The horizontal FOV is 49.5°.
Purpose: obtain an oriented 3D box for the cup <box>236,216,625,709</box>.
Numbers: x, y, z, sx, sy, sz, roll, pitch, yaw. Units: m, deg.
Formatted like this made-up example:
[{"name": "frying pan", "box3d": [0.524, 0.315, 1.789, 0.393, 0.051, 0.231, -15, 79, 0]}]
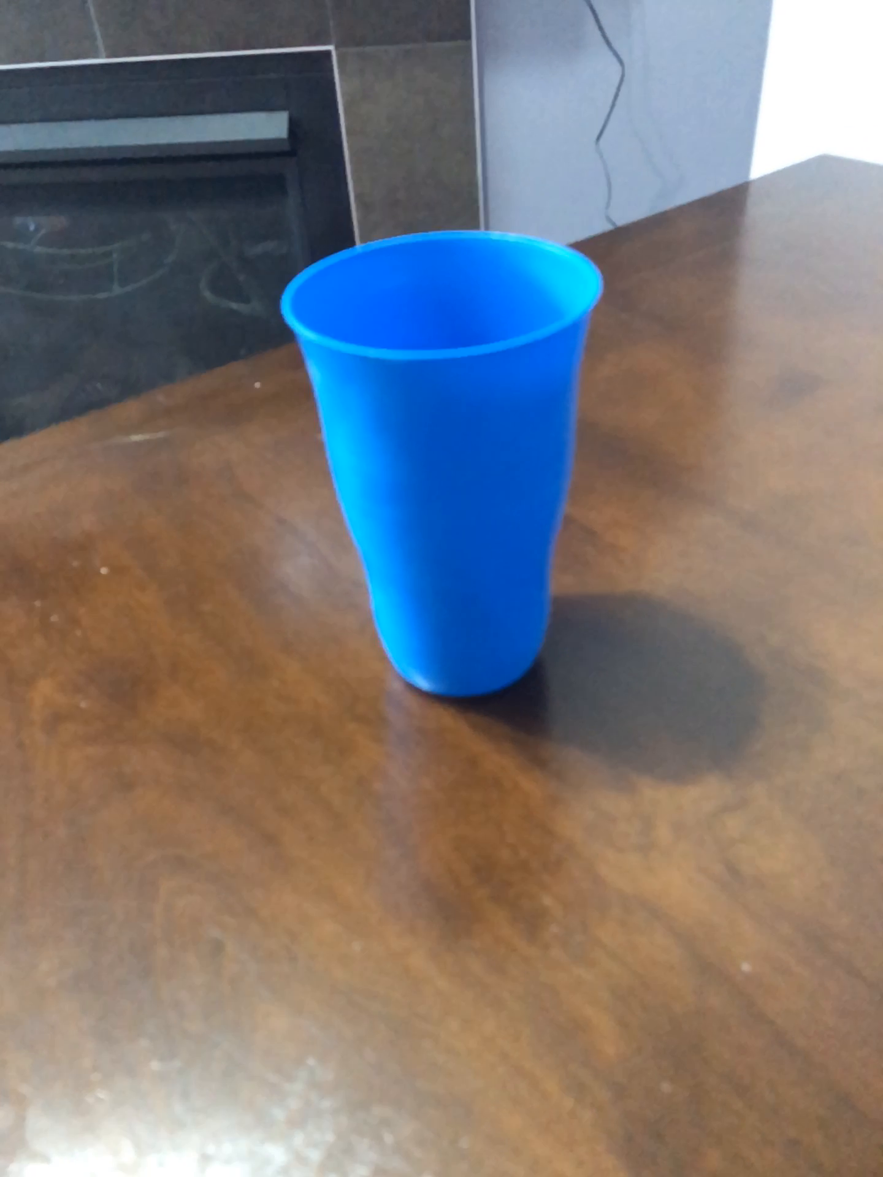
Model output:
[{"name": "cup", "box3d": [0.007, -0.045, 0.328, 0.100, 0.129, 0.100, -3, 38, 2]}]
